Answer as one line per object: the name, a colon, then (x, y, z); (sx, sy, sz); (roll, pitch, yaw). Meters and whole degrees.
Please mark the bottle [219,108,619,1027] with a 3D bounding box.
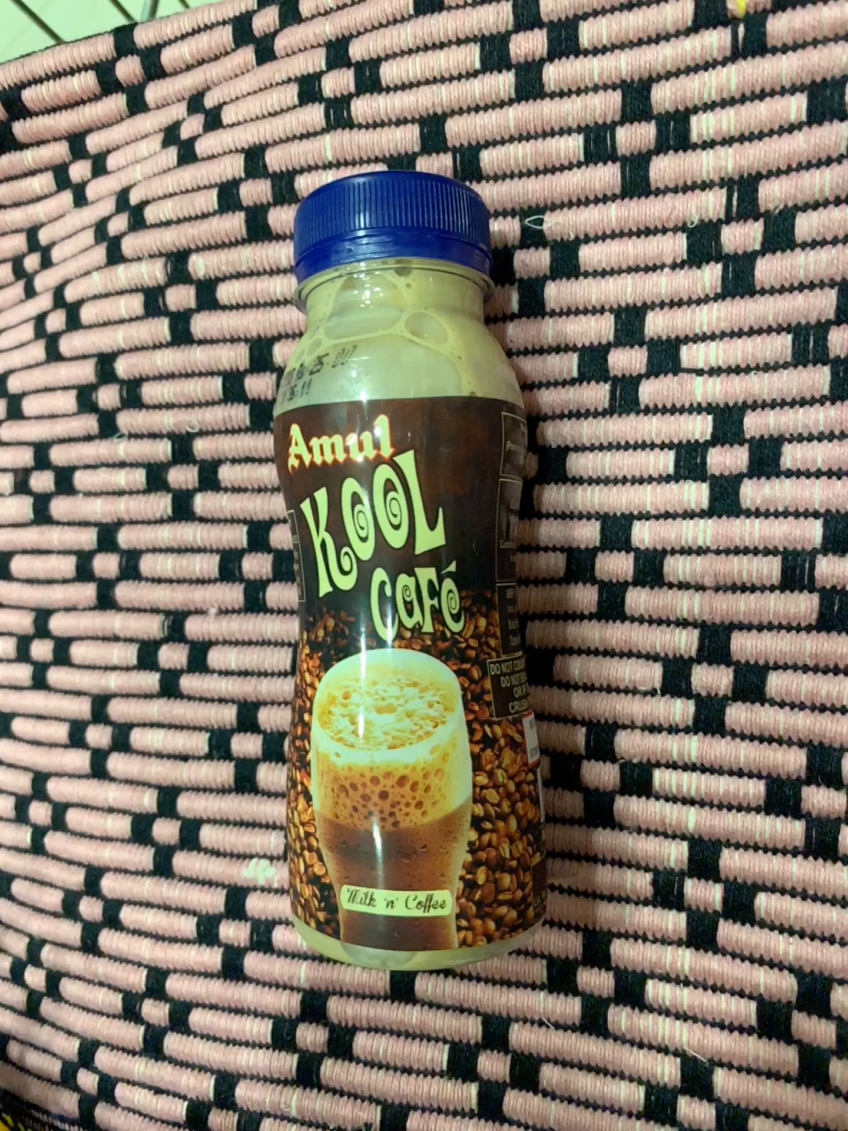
bottle: (0.001, 0.000, 0.167); (0.060, 0.050, 0.140); (-3, 84, 18)
